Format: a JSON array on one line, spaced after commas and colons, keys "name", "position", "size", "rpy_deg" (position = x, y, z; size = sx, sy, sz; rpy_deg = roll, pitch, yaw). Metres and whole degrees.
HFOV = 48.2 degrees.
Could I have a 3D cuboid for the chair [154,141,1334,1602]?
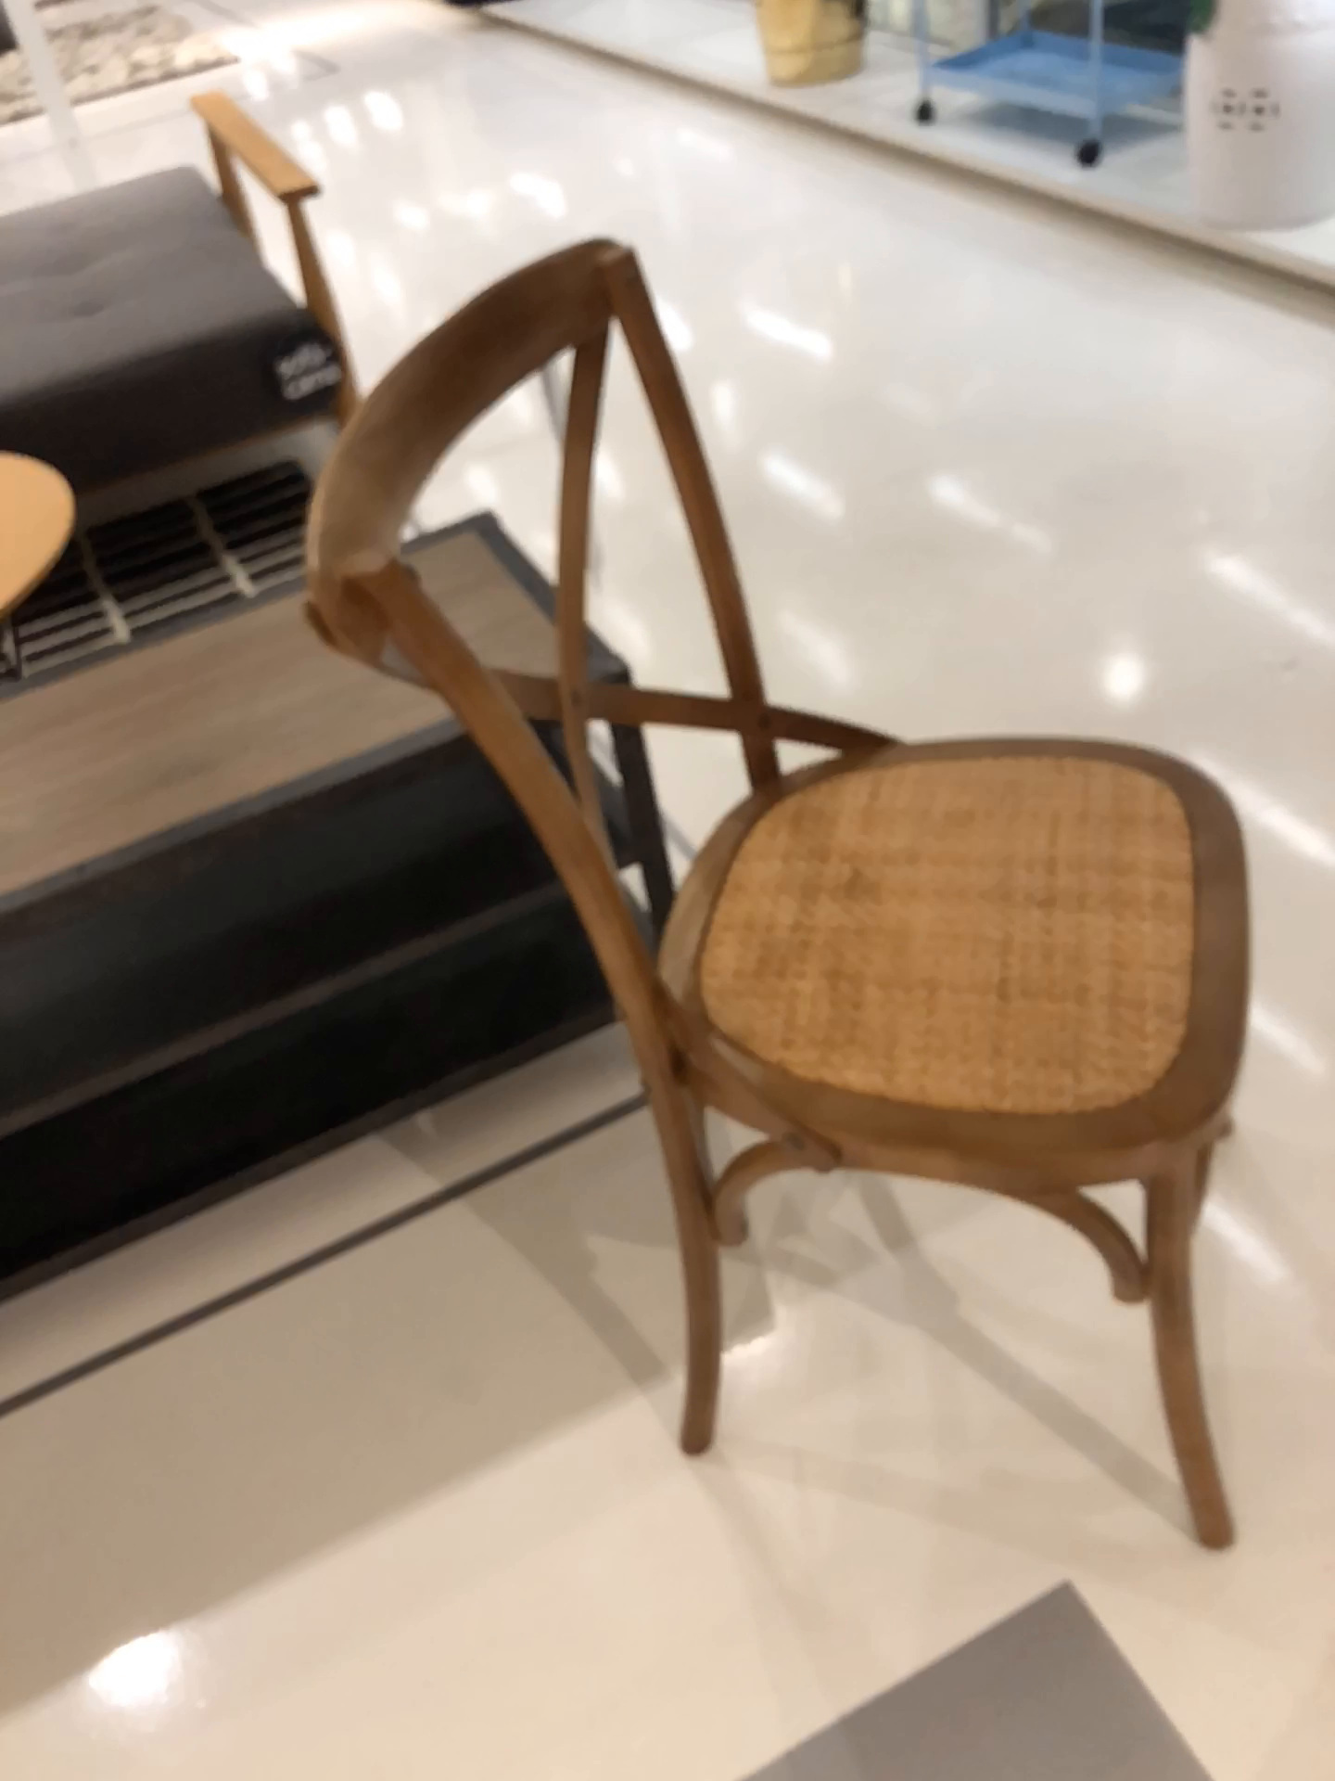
[{"name": "chair", "position": [0.157, 0.020, 1.091], "size": [0.570, 0.863, 0.504], "rpy_deg": [3, 42, 18]}]
